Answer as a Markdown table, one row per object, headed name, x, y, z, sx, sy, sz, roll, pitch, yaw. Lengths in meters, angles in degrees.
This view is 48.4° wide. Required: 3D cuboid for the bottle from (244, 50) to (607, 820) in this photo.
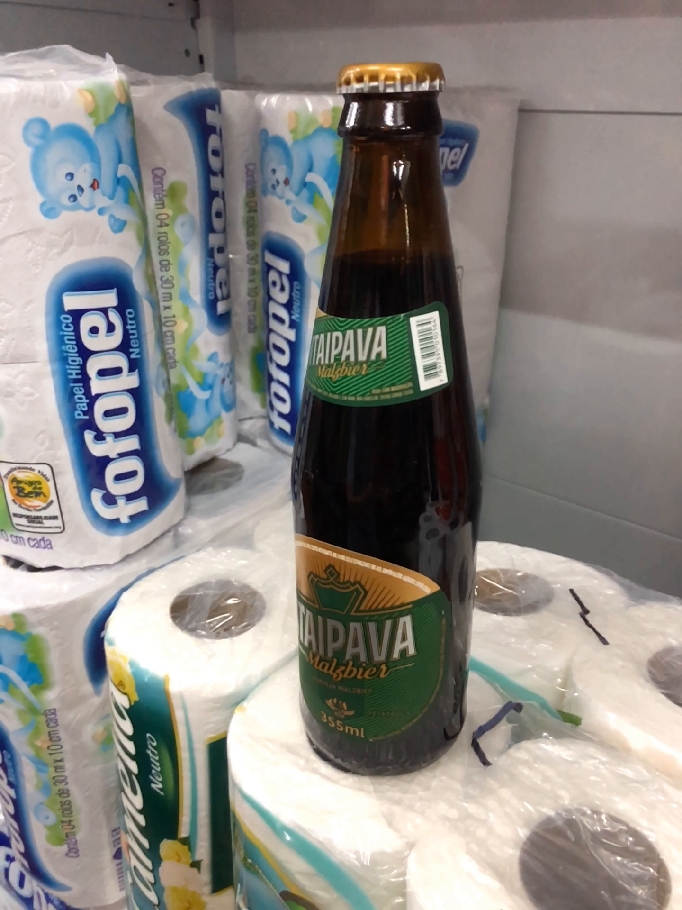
| name | x | y | z | sx | sy | sz | roll | pitch | yaw |
| --- | --- | --- | --- | --- | --- | --- | --- | --- | --- |
| bottle | 0.023 | -0.001 | 0.236 | 0.070 | 0.218 | 0.060 | 16 | 30 | 30 |
